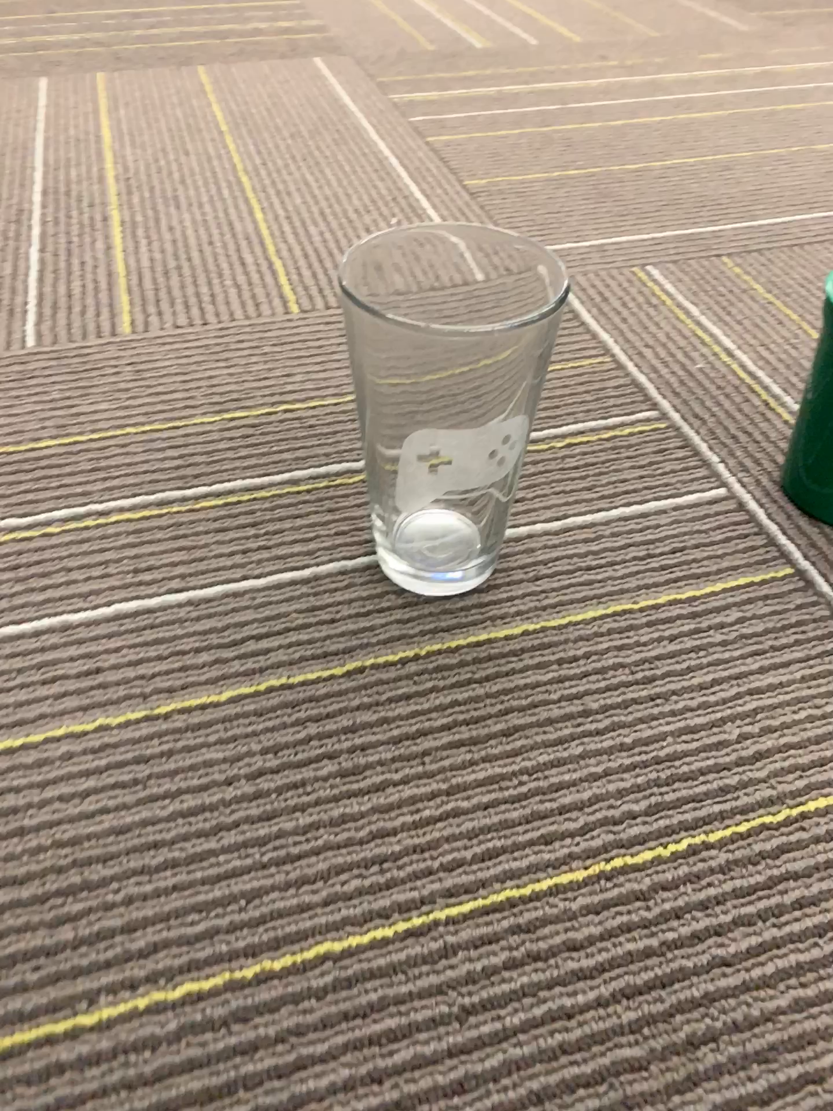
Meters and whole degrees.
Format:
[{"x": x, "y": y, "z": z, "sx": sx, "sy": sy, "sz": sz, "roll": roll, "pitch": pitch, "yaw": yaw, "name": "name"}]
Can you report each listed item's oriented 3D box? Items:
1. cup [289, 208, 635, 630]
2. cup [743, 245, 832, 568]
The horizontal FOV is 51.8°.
[{"x": 0.013, "y": -0.055, "z": 0.344, "sx": 0.090, "sy": 0.119, "sz": 0.090, "roll": 0, "pitch": 44, "yaw": 0, "name": "cup"}, {"x": 0.220, "y": -0.069, "z": 0.404, "sx": 0.070, "sy": 0.119, "sz": 0.080, "roll": -7, "pitch": 44, "yaw": -7, "name": "cup"}]
